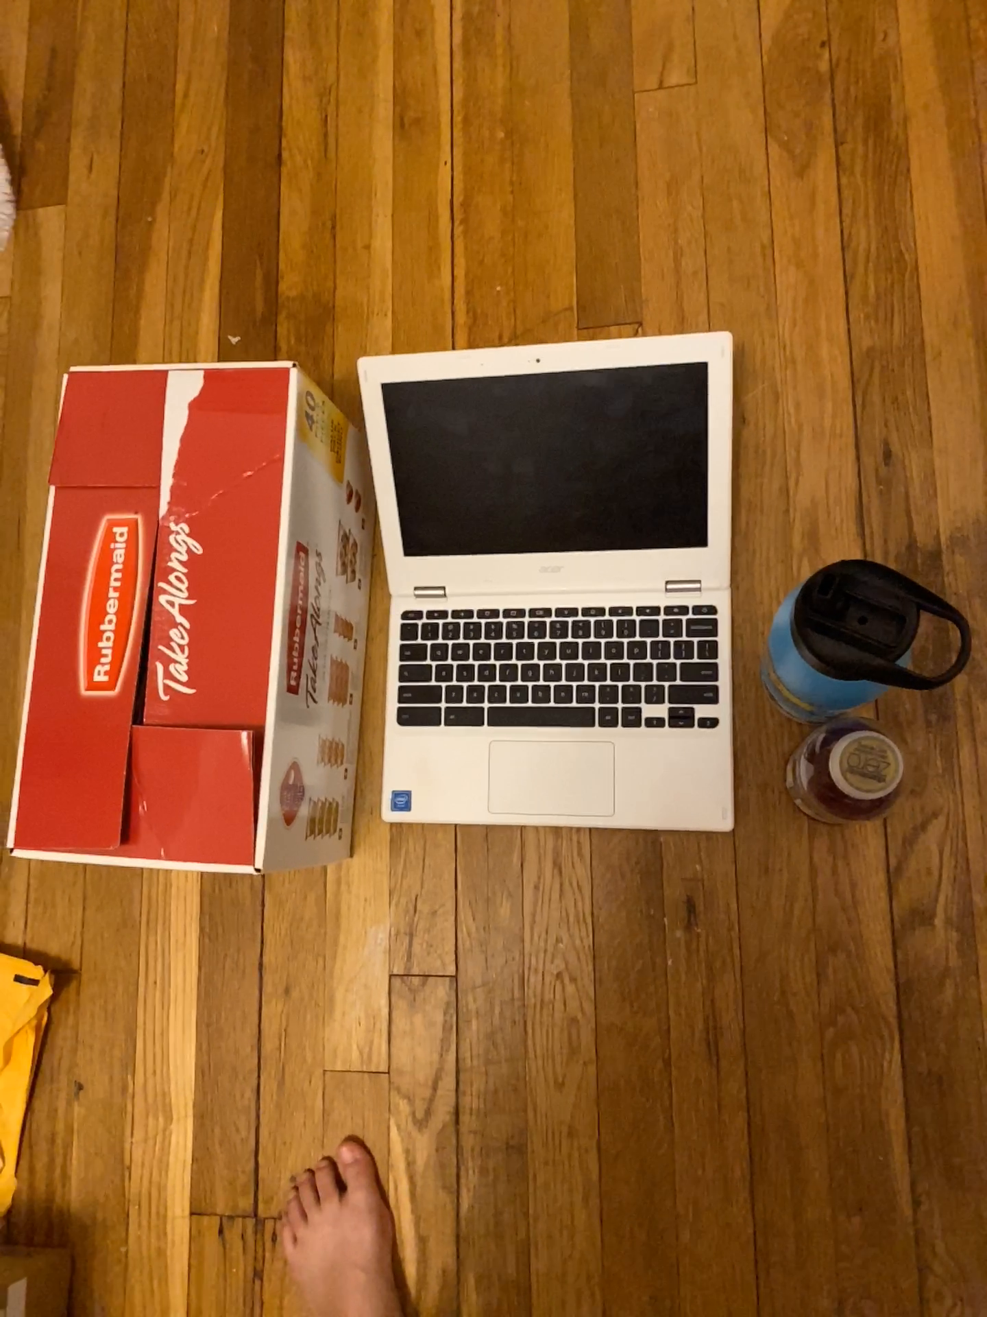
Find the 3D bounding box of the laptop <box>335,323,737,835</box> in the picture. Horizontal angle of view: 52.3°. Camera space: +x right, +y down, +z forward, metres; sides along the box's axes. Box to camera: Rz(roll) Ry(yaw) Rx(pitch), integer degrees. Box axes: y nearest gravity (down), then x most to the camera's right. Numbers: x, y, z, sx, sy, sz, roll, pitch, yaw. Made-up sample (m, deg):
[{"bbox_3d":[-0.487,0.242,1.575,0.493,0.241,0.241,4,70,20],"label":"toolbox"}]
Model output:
[{"bbox_3d":[0.040,-0.051,0.788,0.289,0.110,0.364,-1,82,13],"label":"laptop"}]
